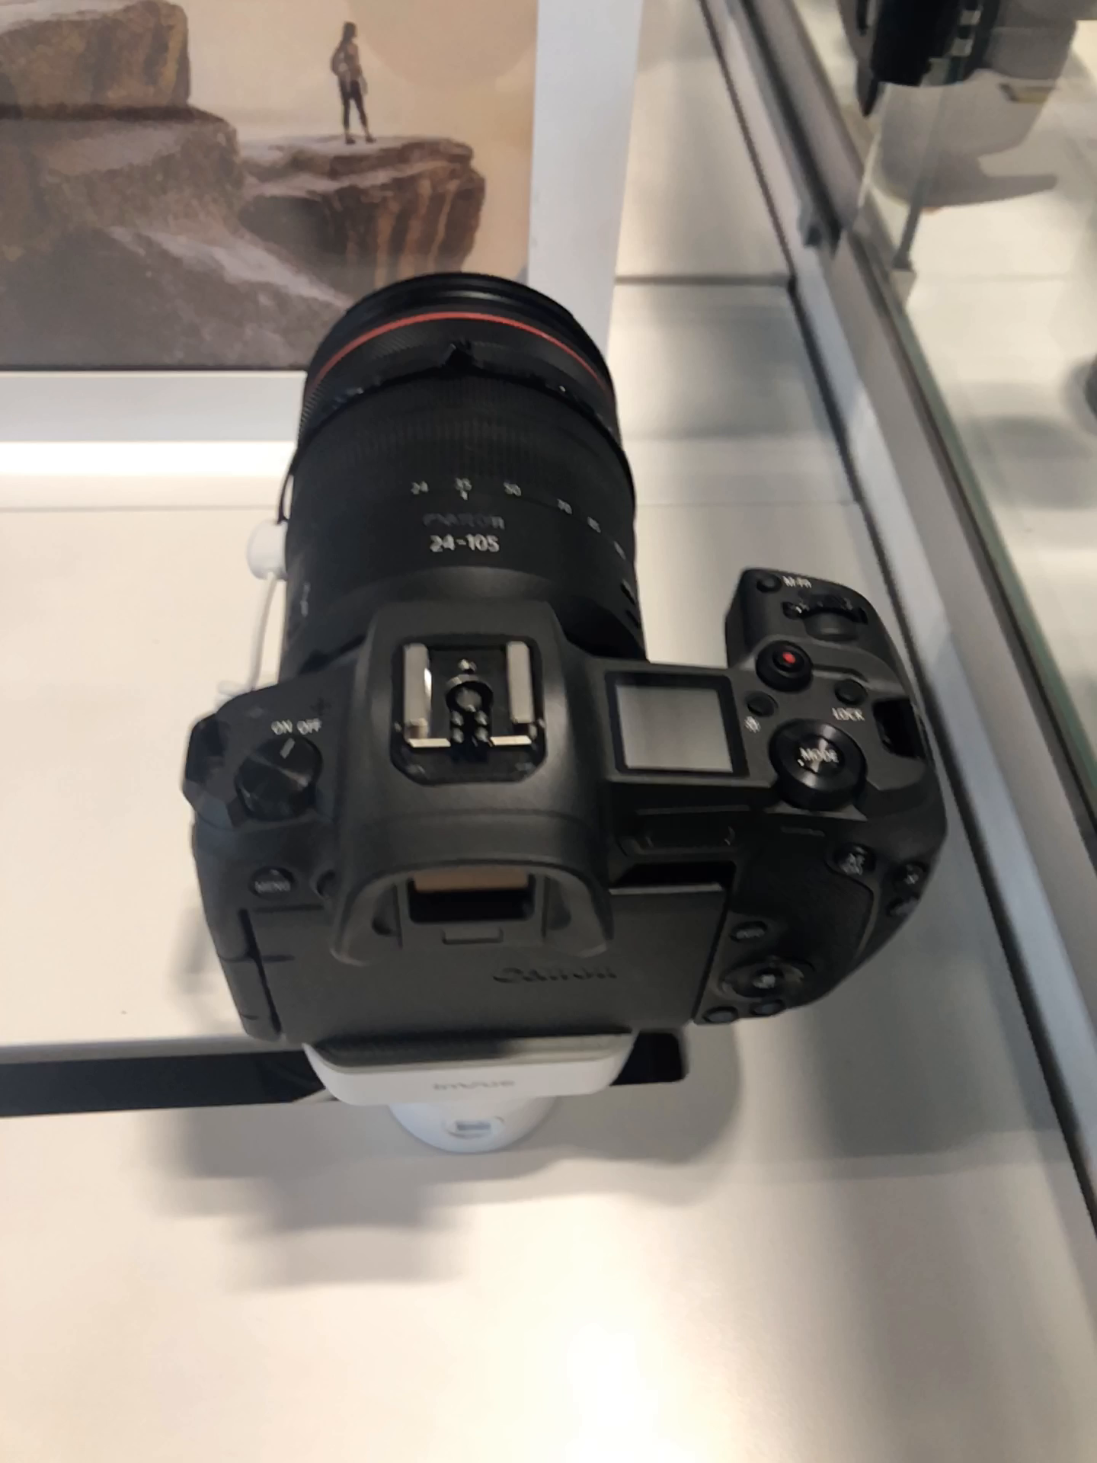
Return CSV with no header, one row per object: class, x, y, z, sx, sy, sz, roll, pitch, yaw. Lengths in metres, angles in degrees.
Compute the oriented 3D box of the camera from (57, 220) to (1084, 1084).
camera,-0.003,-0.022,0.242,0.139,0.086,0.146,-3,52,-5
